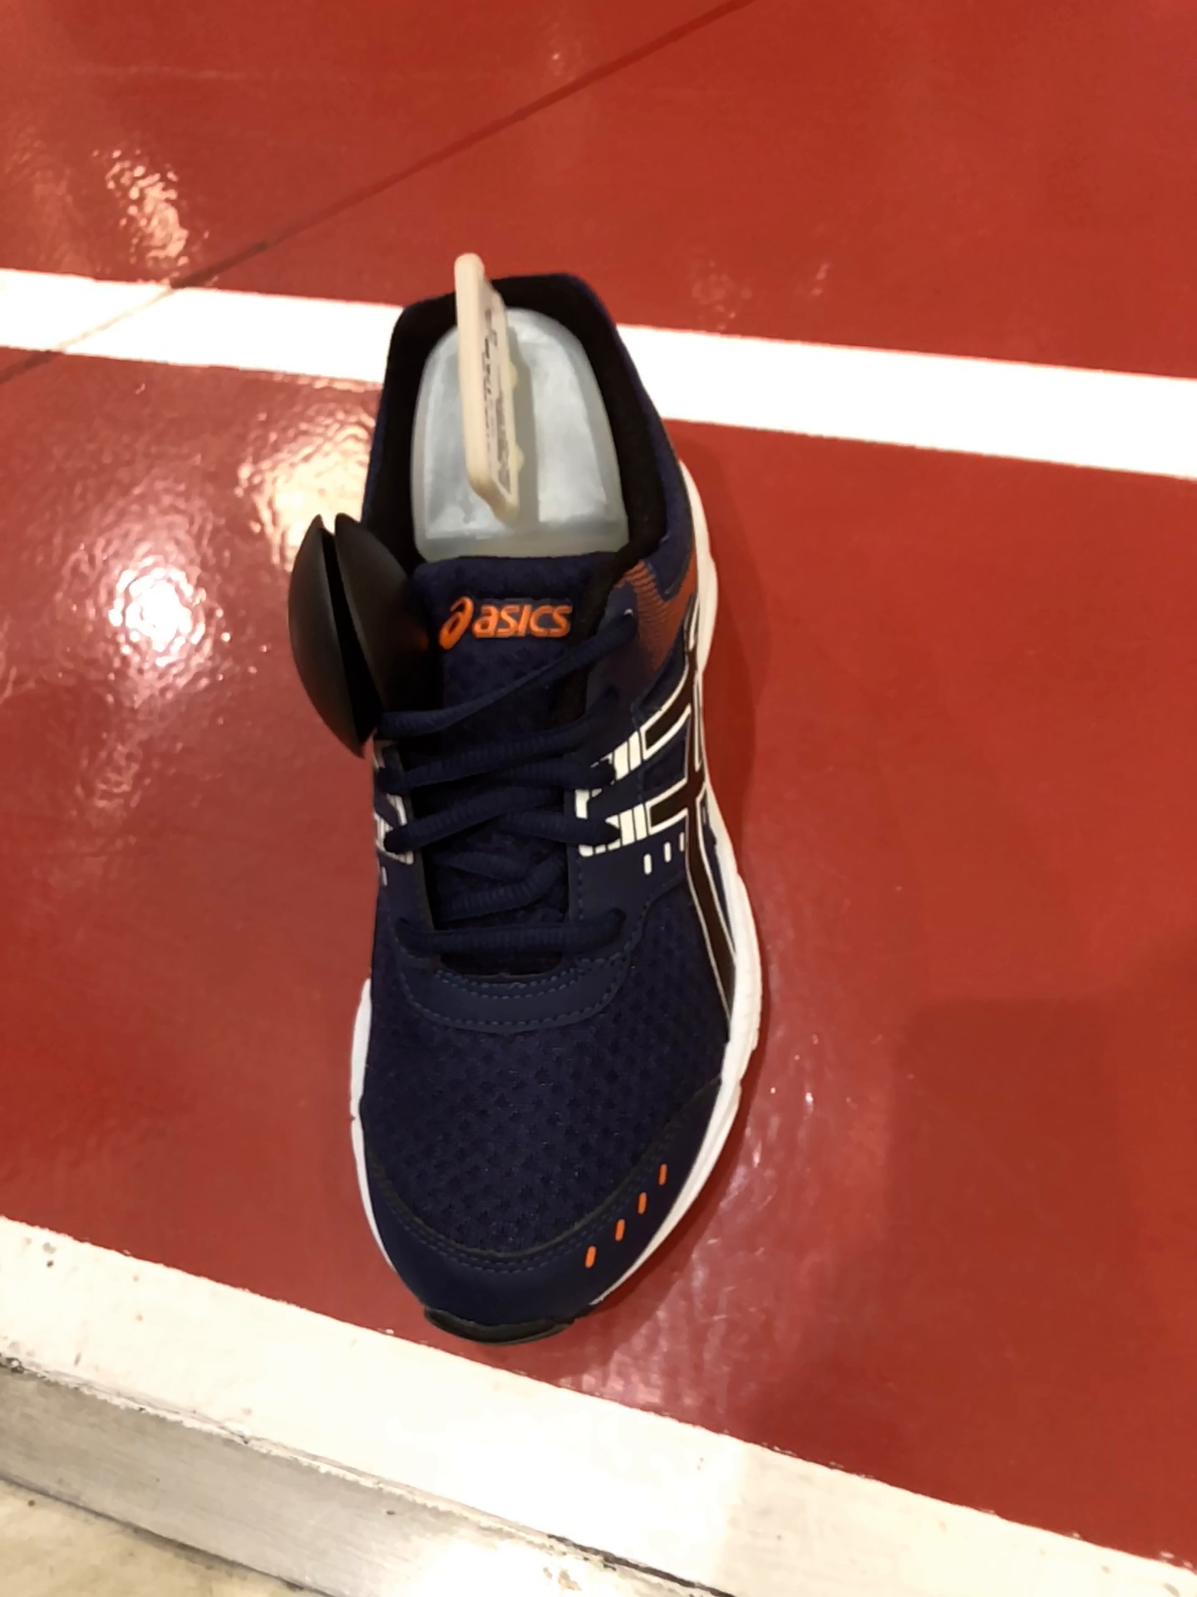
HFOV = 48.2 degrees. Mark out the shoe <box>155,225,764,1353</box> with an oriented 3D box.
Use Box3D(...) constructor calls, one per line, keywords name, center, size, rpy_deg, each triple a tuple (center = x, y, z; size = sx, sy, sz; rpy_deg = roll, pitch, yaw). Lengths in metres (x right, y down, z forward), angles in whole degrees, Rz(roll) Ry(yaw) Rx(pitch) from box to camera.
Box3D(name="shoe", center=(-0.015, -0.002, 0.317), size=(0.100, 0.100, 0.241), rpy_deg=(-2, 67, 10))
